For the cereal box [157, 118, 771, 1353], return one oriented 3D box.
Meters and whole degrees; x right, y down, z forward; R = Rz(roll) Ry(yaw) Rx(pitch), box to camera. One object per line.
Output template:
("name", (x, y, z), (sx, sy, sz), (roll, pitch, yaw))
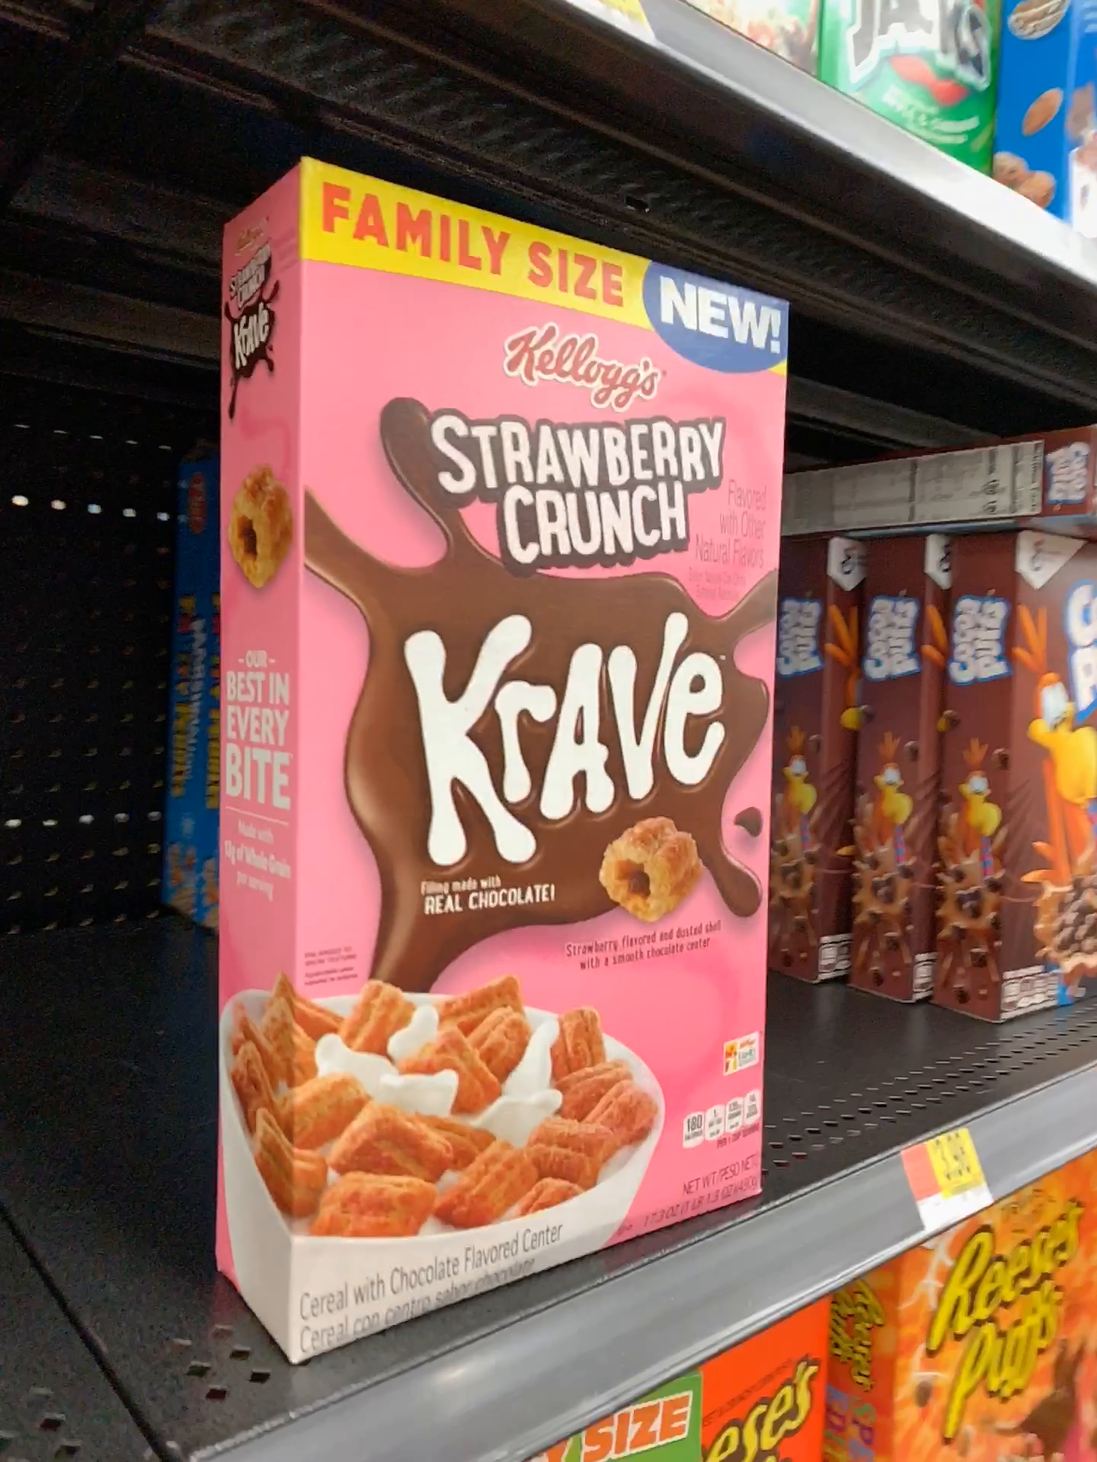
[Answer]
("cereal box", (-0.020, 0.002, 0.384), (0.200, 0.330, 0.060), (0, 2, -36))
